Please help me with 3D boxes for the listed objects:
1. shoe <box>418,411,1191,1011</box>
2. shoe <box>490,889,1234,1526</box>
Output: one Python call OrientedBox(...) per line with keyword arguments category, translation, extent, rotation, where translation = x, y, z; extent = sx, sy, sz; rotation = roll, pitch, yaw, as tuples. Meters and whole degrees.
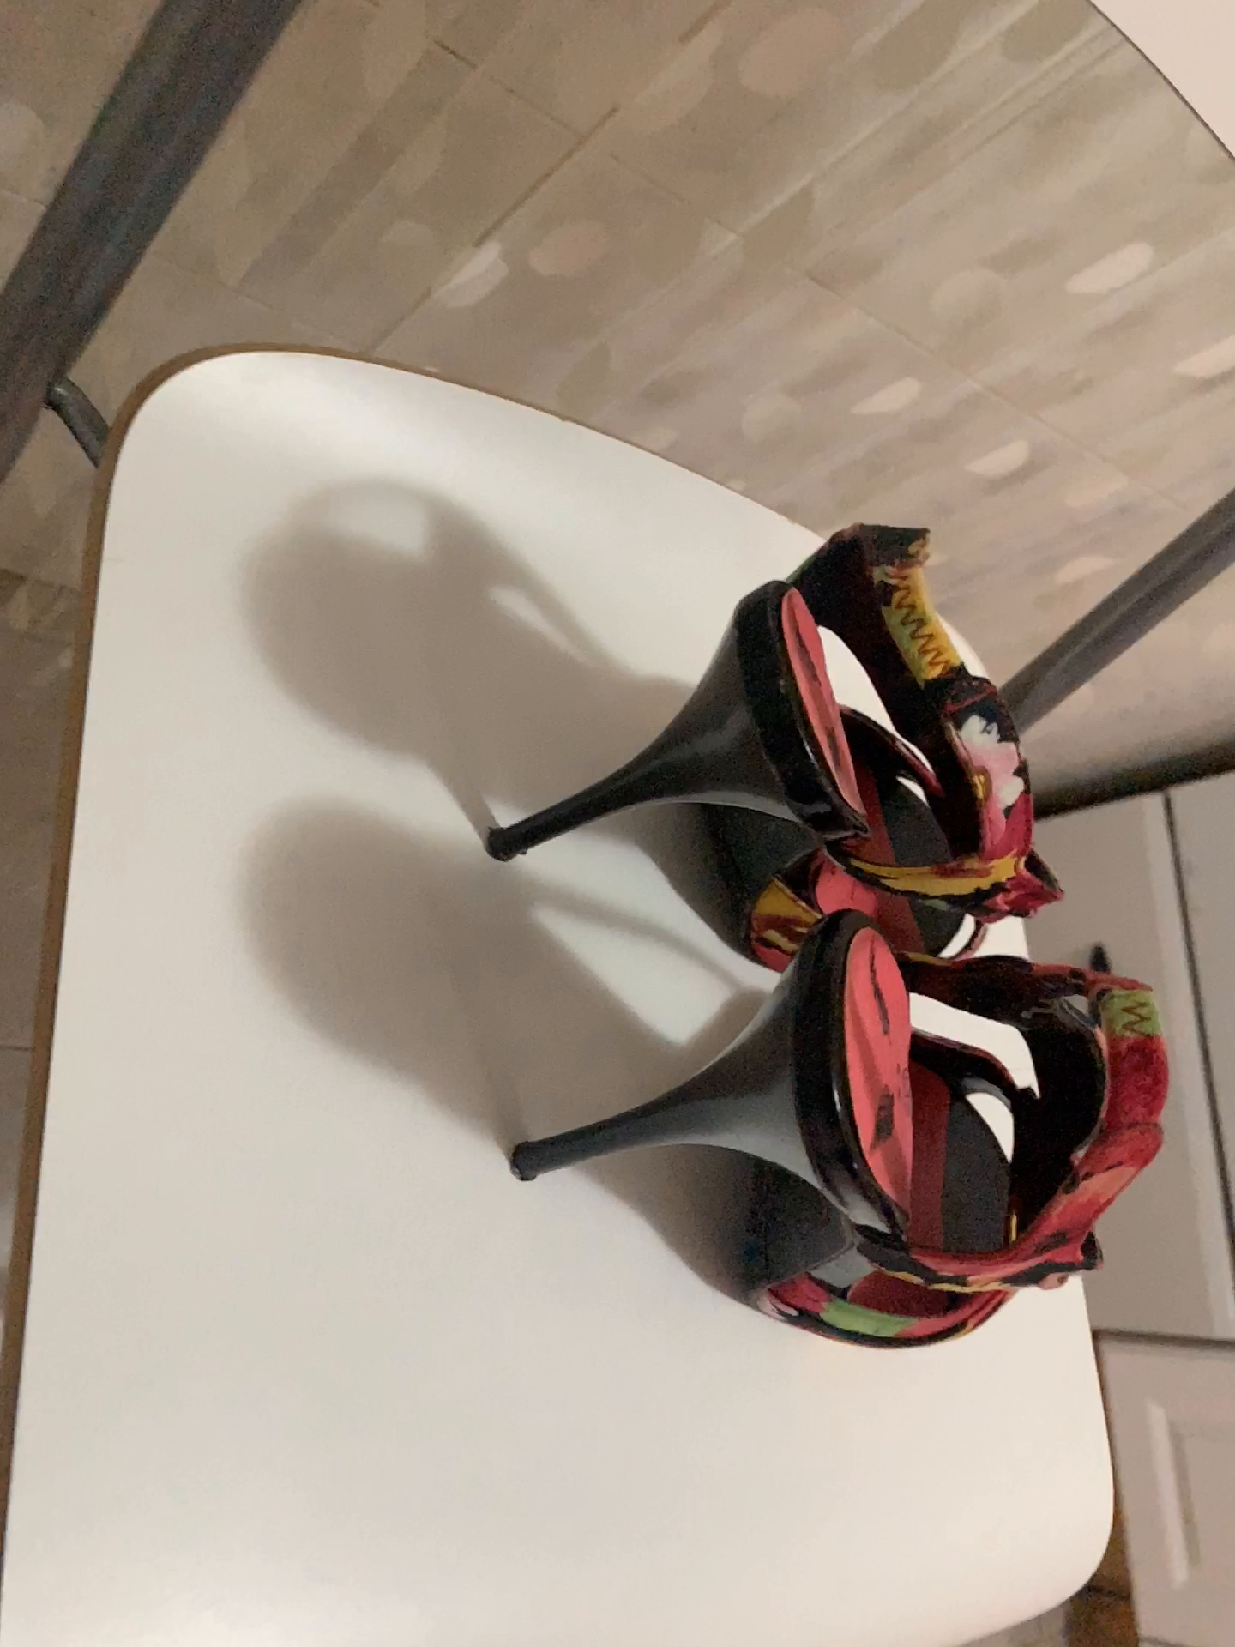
OrientedBox(category="shoe", translation=(0.059, -0.003, 0.295), extent=(0.206, 0.085, 0.080), rotation=(13, 68, -54))
OrientedBox(category="shoe", translation=(0.070, 0.081, 0.271), extent=(0.206, 0.073, 0.082), rotation=(24, 61, -51))
